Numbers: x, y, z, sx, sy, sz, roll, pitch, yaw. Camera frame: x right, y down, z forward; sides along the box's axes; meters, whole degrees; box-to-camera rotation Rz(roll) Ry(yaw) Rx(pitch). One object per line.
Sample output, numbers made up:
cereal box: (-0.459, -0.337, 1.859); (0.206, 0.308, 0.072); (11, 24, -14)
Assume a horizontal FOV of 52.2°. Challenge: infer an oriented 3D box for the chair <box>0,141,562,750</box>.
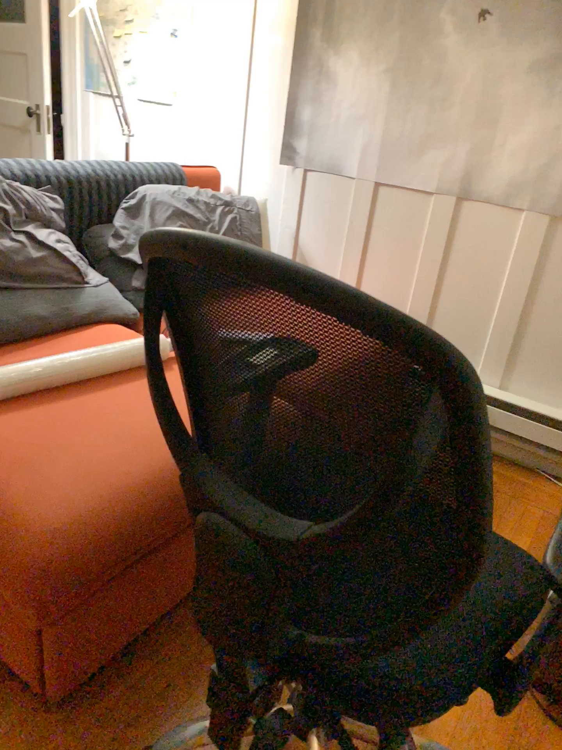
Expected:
chair: (0.082, 0.217, 0.873); (0.642, 0.974, 0.662); (28, 35, 37)
